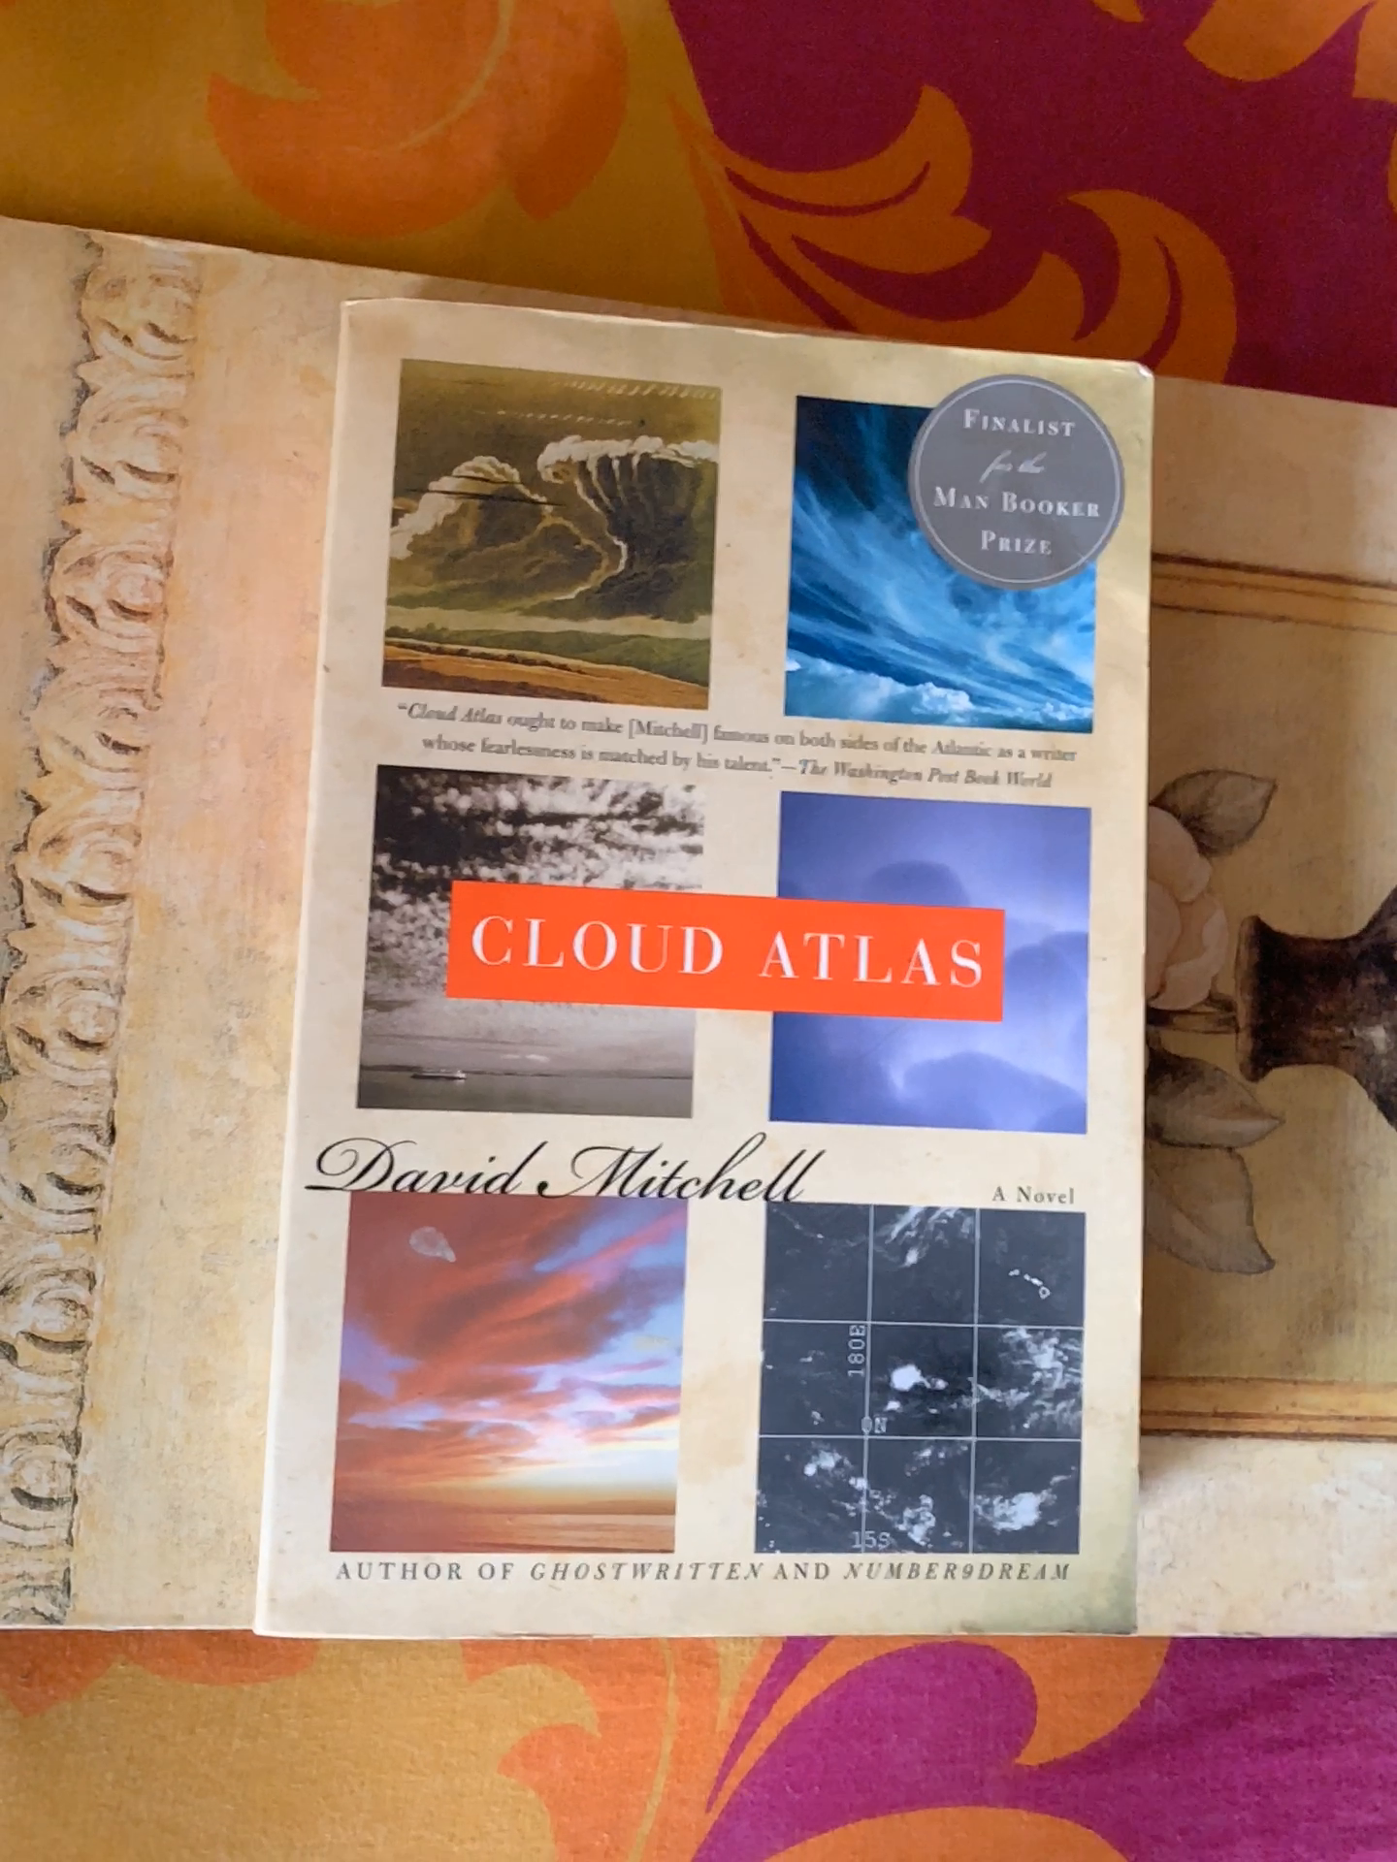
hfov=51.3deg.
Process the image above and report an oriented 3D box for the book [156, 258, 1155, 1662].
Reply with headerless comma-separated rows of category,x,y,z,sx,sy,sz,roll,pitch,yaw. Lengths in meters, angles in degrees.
book,-0.003,0.004,0.223,0.130,0.040,0.190,3,85,-4
